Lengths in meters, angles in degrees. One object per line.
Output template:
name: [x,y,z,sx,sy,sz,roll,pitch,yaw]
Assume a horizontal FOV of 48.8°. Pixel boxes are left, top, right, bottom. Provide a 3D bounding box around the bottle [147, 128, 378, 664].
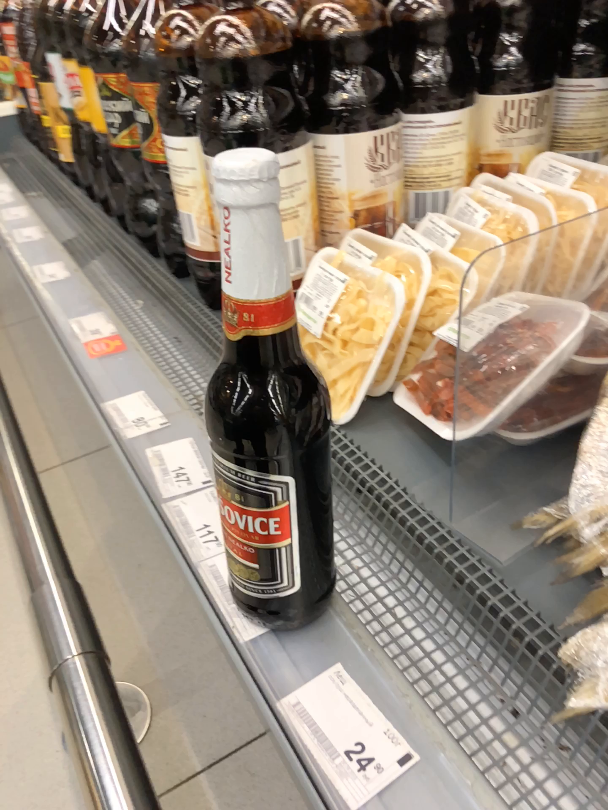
bottle: [-0.012,0.009,0.349,0.070,0.268,0.070,-3,33,2]
